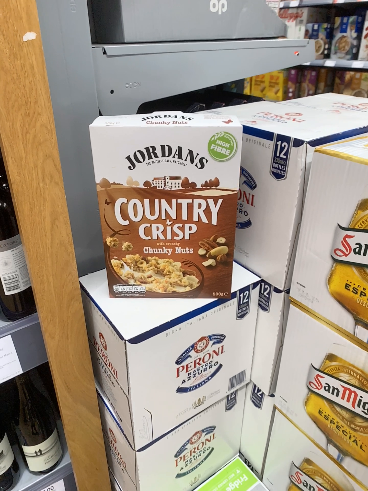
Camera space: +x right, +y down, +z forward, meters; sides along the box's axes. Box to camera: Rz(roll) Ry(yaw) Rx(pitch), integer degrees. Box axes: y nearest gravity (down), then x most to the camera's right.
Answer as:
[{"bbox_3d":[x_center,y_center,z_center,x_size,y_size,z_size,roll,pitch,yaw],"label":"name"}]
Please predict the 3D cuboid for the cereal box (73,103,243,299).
[{"bbox_3d":[-0.028,-0.049,0.505,0.190,0.258,0.050,0,28,1],"label":"cereal box"}]
